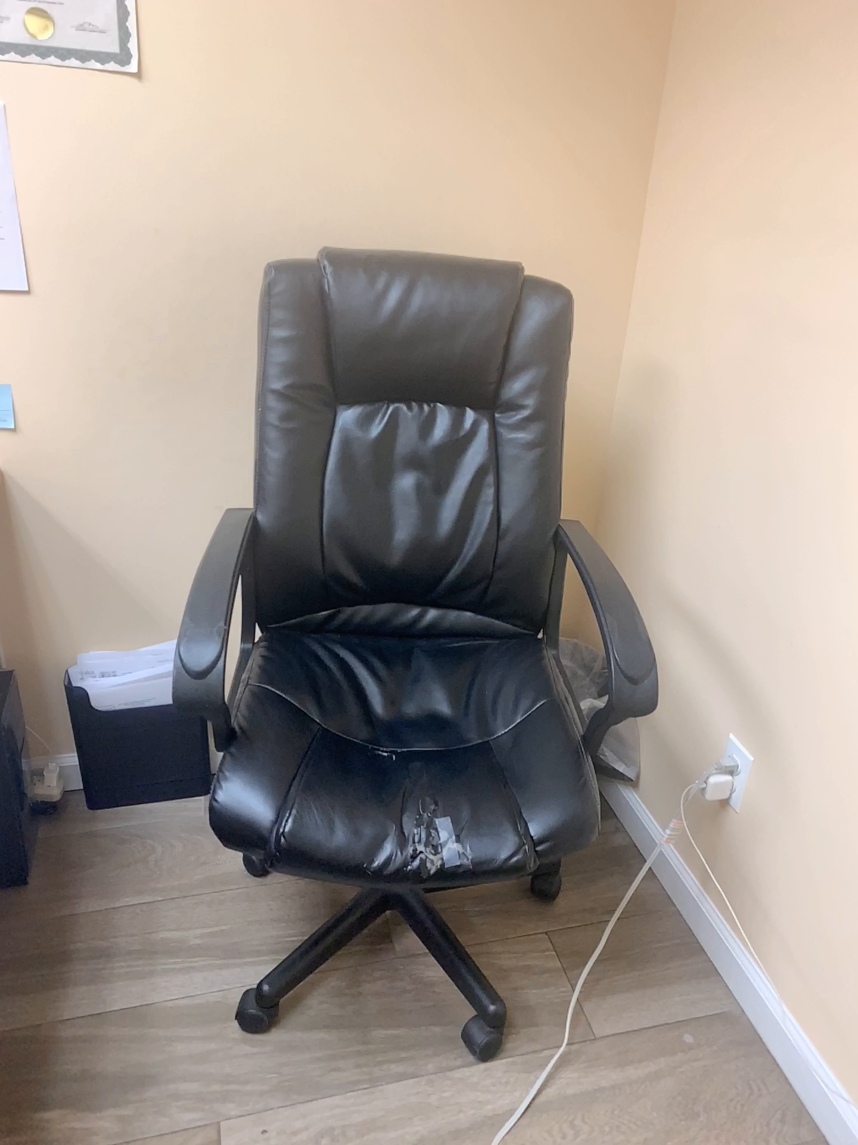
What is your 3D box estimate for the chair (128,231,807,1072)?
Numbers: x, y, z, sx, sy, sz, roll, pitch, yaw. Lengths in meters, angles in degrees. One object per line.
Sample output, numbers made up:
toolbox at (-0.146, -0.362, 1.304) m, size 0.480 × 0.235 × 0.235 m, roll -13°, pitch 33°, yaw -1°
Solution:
chair at (-0.001, 0.100, 1.333) m, size 0.648 × 1.083 × 0.630 m, roll 3°, pitch 25°, yaw -3°
